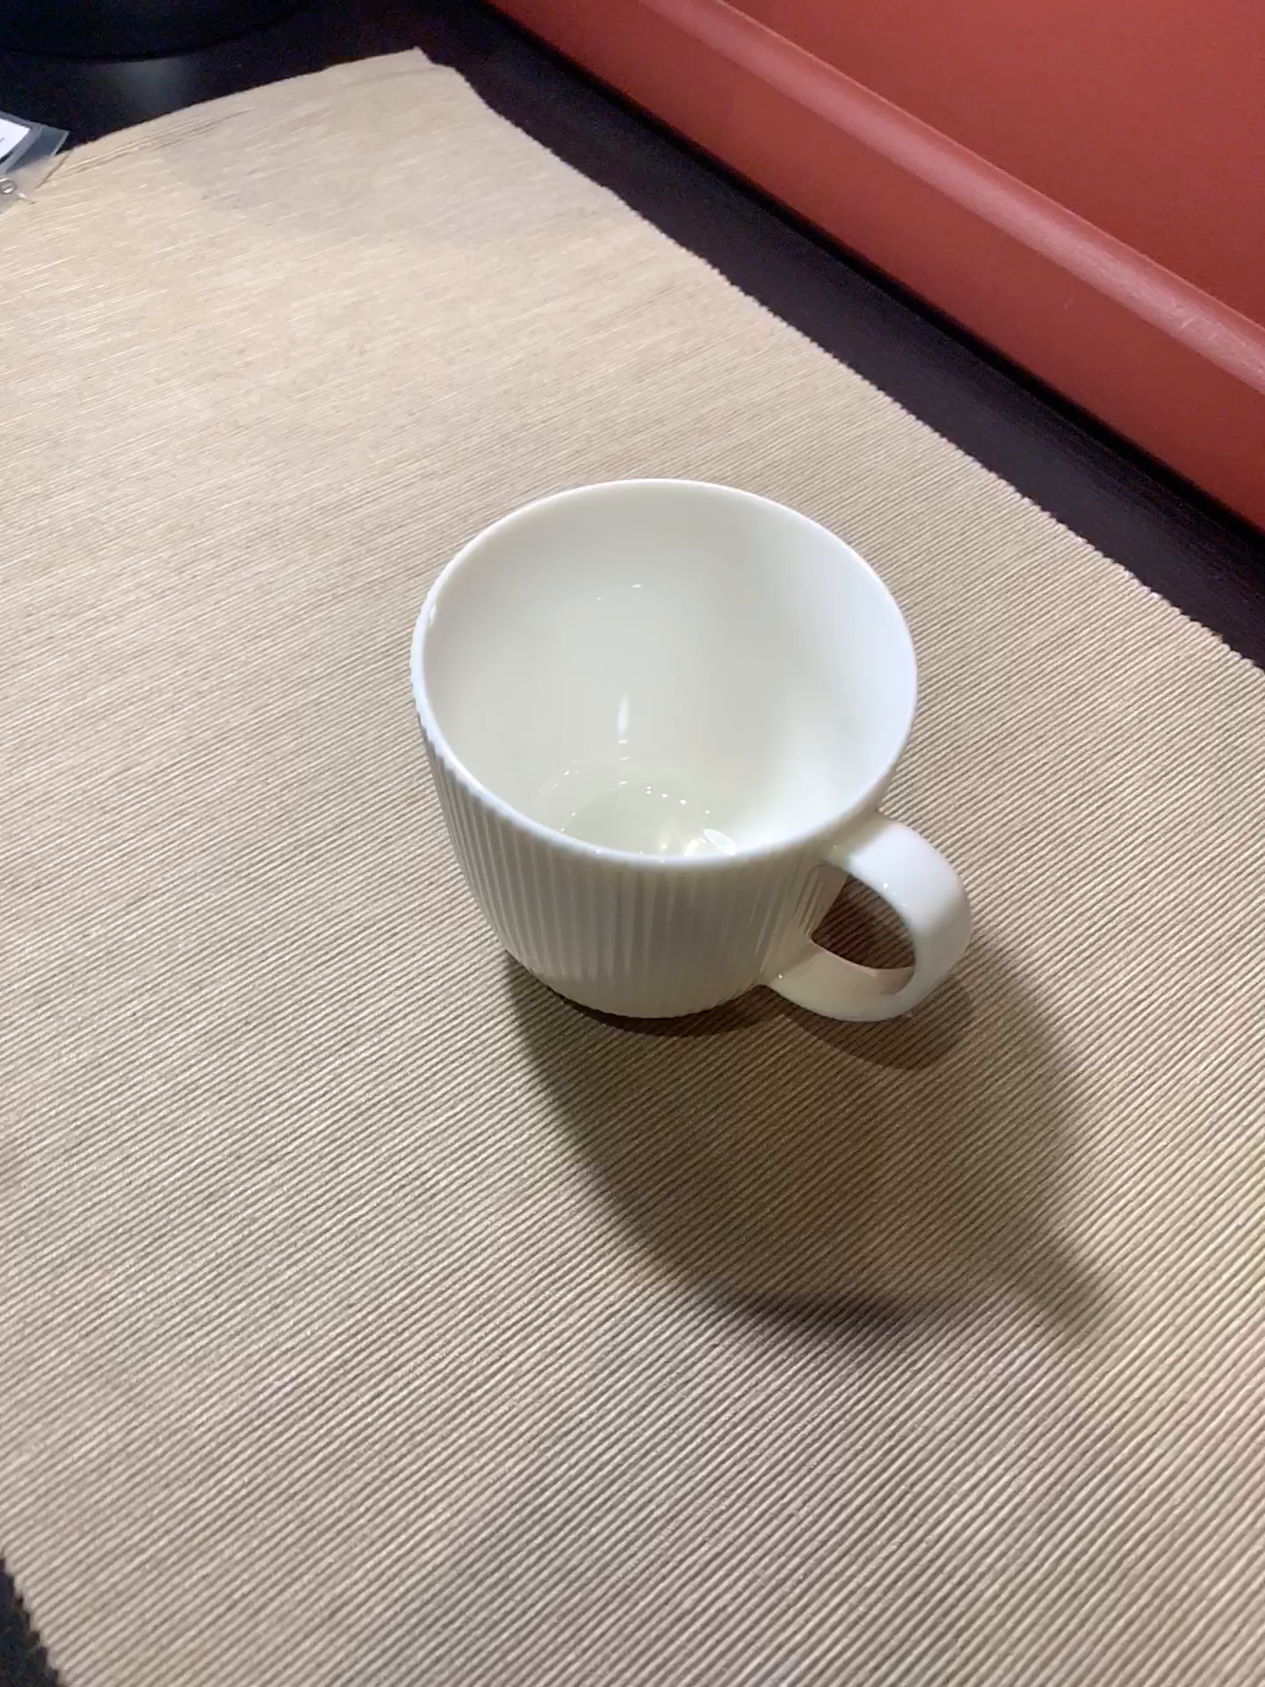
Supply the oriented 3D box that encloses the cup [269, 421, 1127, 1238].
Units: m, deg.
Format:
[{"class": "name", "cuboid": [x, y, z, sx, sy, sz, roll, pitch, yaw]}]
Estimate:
[{"class": "cup", "cuboid": [0.009, -0.008, 0.239, 0.090, 0.060, 0.110, -37, 64, -25]}]
